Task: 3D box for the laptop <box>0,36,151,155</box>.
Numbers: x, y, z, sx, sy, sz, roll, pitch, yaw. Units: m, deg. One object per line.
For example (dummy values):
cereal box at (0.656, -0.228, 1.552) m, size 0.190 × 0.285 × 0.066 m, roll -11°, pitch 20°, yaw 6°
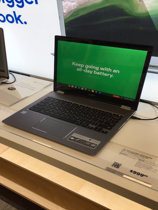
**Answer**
laptop at (-0.020, -0.051, 0.602) m, size 0.312 × 0.202 × 0.278 m, roll 19°, pitch 43°, yaw 26°
